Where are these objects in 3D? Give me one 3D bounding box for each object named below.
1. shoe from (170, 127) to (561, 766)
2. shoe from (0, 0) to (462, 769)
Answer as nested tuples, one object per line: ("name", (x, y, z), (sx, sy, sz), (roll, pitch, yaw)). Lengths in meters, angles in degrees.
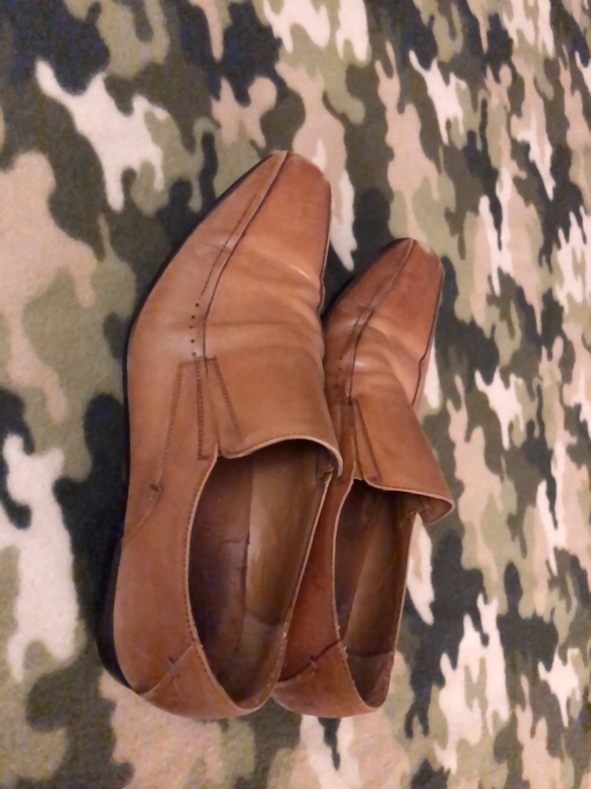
("shoe", (0.054, 0.021, 0.390), (0.110, 0.120, 0.321), (31, 66, -35))
("shoe", (-0.020, -0.013, 0.322), (0.110, 0.120, 0.320), (25, 69, -37))
